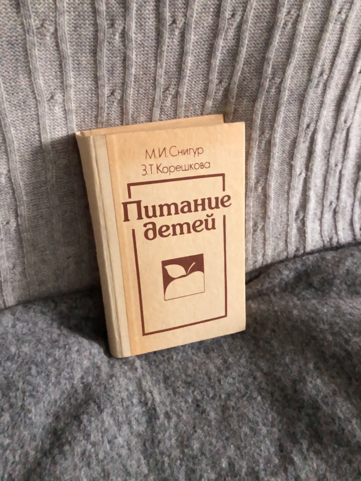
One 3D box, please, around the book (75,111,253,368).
[{"bbox_3d":[-0.006,0.000,0.368,0.139,0.212,0.042,-11,23,-16],"label":"book"}]
